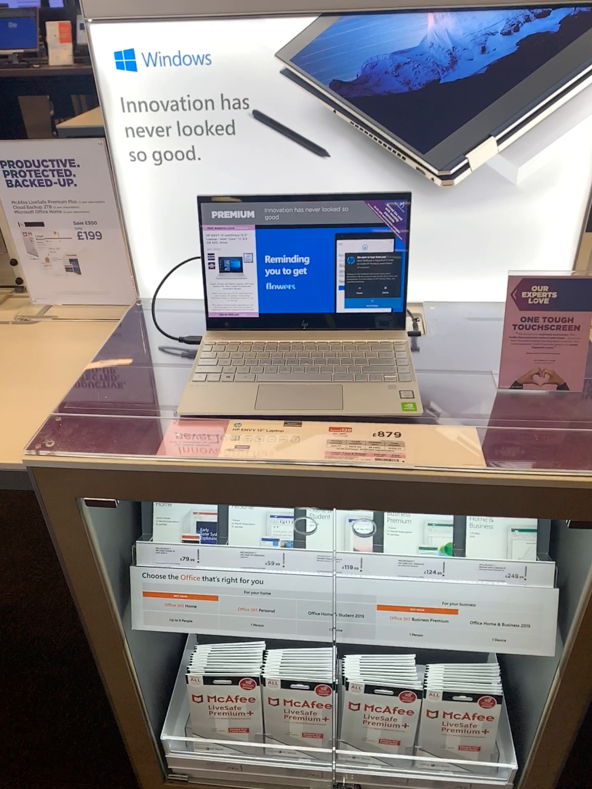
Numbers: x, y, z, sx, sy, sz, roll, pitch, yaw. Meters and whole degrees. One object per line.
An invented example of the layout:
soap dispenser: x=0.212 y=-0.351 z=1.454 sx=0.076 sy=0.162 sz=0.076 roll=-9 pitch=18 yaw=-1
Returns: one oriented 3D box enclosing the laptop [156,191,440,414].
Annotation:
laptop: x=0.007 y=-0.131 z=0.785 sx=0.295 sy=0.181 sz=0.262 roll=0 pitch=34 yaw=3
